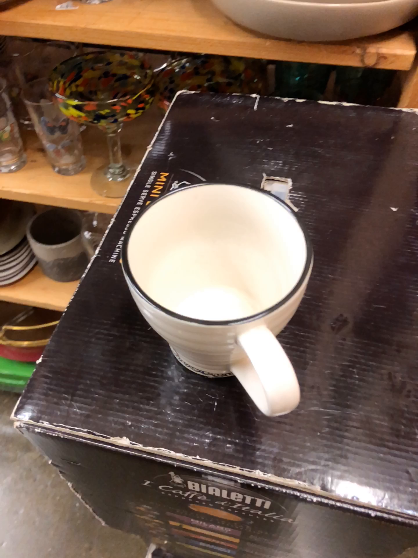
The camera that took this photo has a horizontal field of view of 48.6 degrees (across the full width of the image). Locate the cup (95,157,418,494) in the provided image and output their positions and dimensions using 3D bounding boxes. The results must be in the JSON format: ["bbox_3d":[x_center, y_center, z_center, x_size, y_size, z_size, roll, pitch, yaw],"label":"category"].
[{"bbox_3d":[0.016,0.019,0.254,0.101,0.084,0.131,-23,55,-17],"label":"cup"}]
